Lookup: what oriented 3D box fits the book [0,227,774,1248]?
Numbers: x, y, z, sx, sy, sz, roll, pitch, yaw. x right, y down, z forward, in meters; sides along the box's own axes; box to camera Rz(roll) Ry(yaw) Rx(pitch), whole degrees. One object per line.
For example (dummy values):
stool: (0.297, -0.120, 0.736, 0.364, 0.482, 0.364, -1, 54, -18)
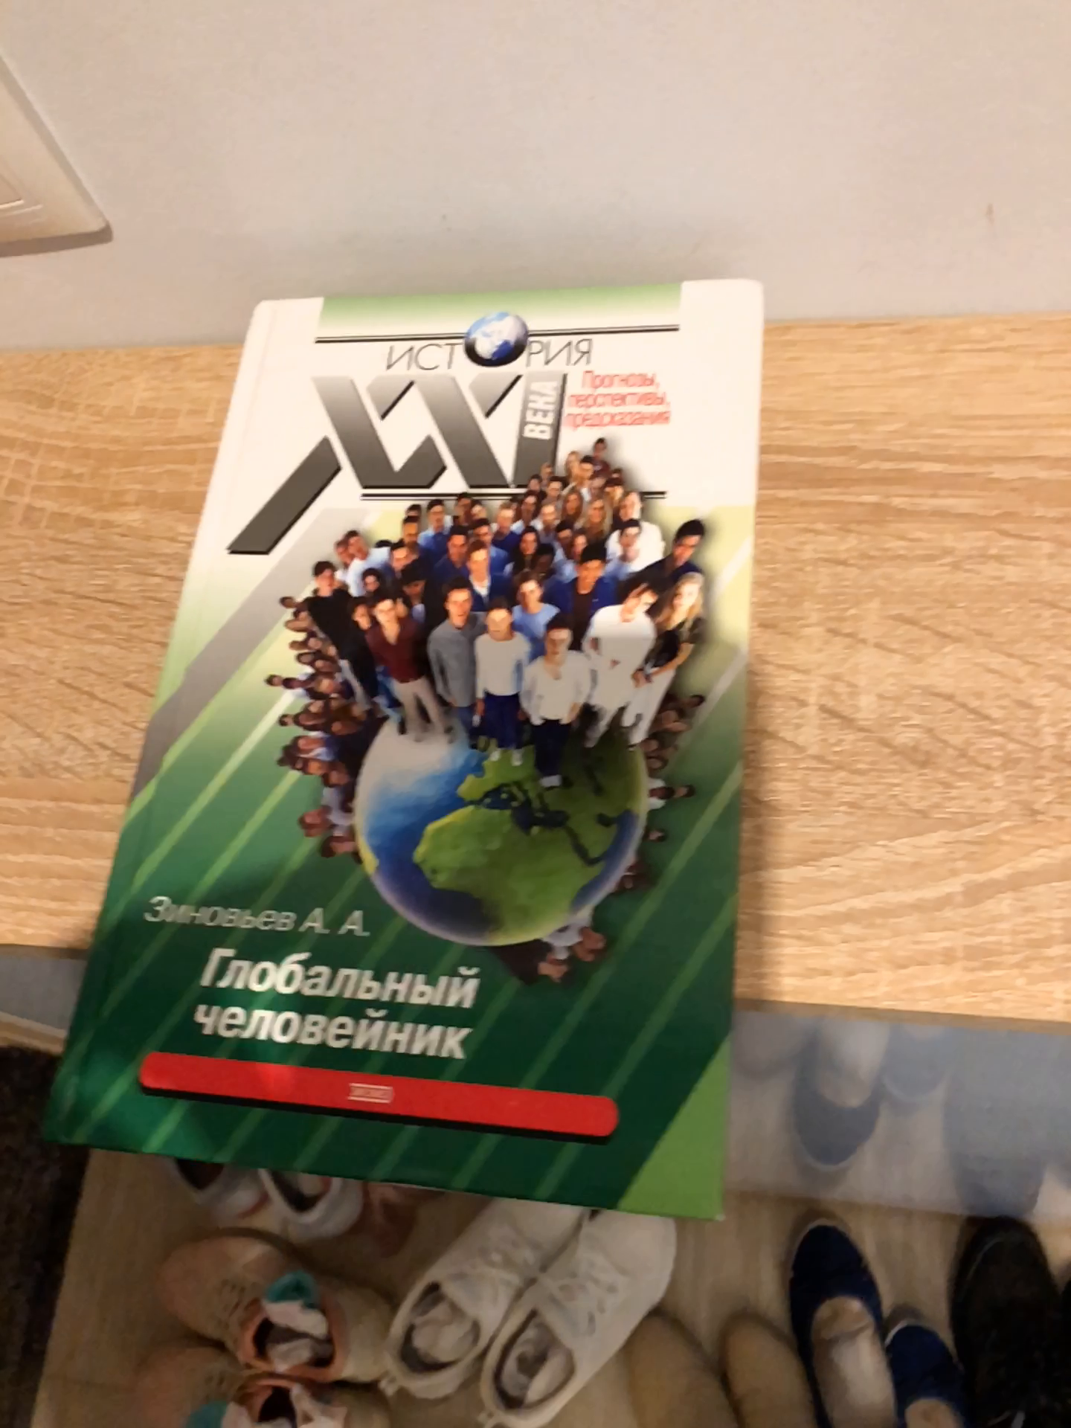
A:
book: (-0.023, -0.012, 0.260, 0.140, 0.020, 0.221, 2, 66, 12)
